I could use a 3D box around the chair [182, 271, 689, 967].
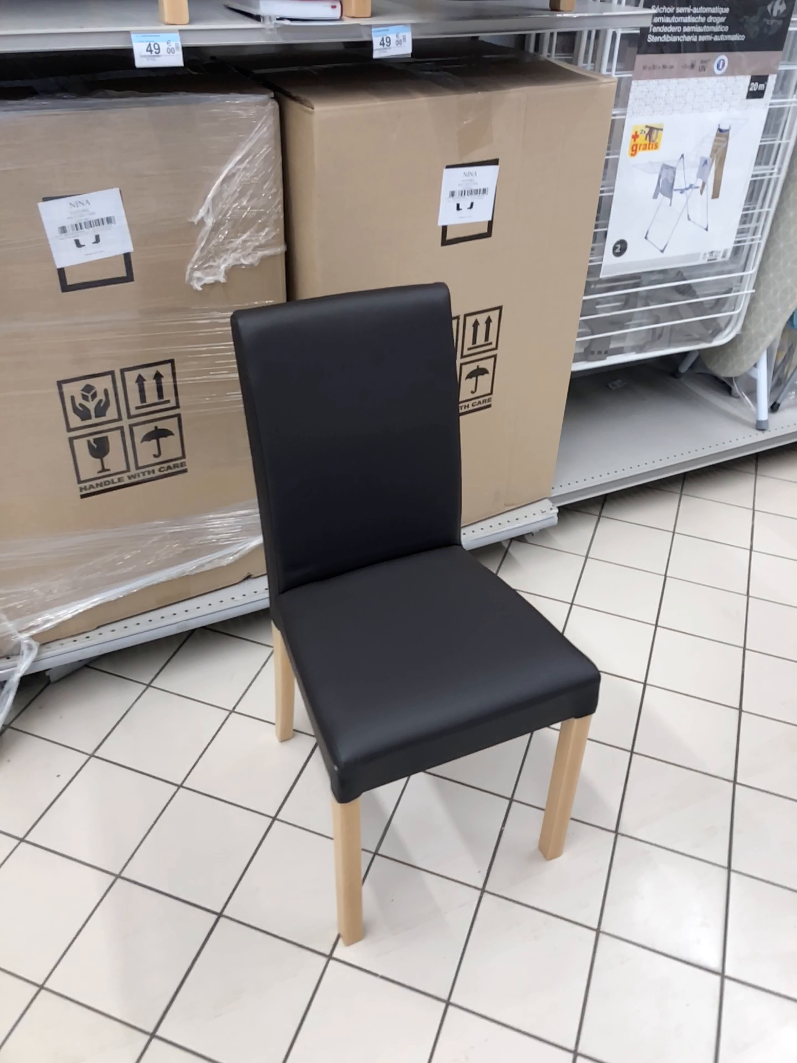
[{"bbox_3d":[0.000,0.124,1.415,0.451,0.855,0.592,-15,40,-22],"label":"chair"}]
